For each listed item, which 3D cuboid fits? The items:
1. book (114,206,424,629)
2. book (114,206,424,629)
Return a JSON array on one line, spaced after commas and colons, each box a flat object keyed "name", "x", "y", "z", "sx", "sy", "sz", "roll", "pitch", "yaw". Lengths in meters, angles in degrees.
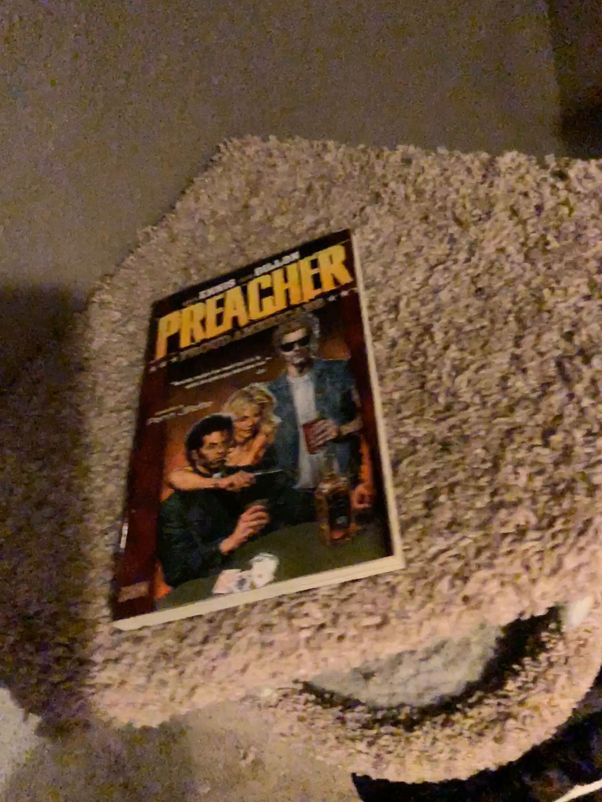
[{"name": "book", "x": -0.029, "y": -0.006, "z": 0.434, "sx": 0.170, "sy": 0.020, "sz": 0.270, "roll": -18, "pitch": 50, "yaw": 16}, {"name": "book", "x": -0.029, "y": -0.006, "z": 0.434, "sx": 0.170, "sy": 0.020, "sz": 0.270, "roll": -18, "pitch": 50, "yaw": 16}]
